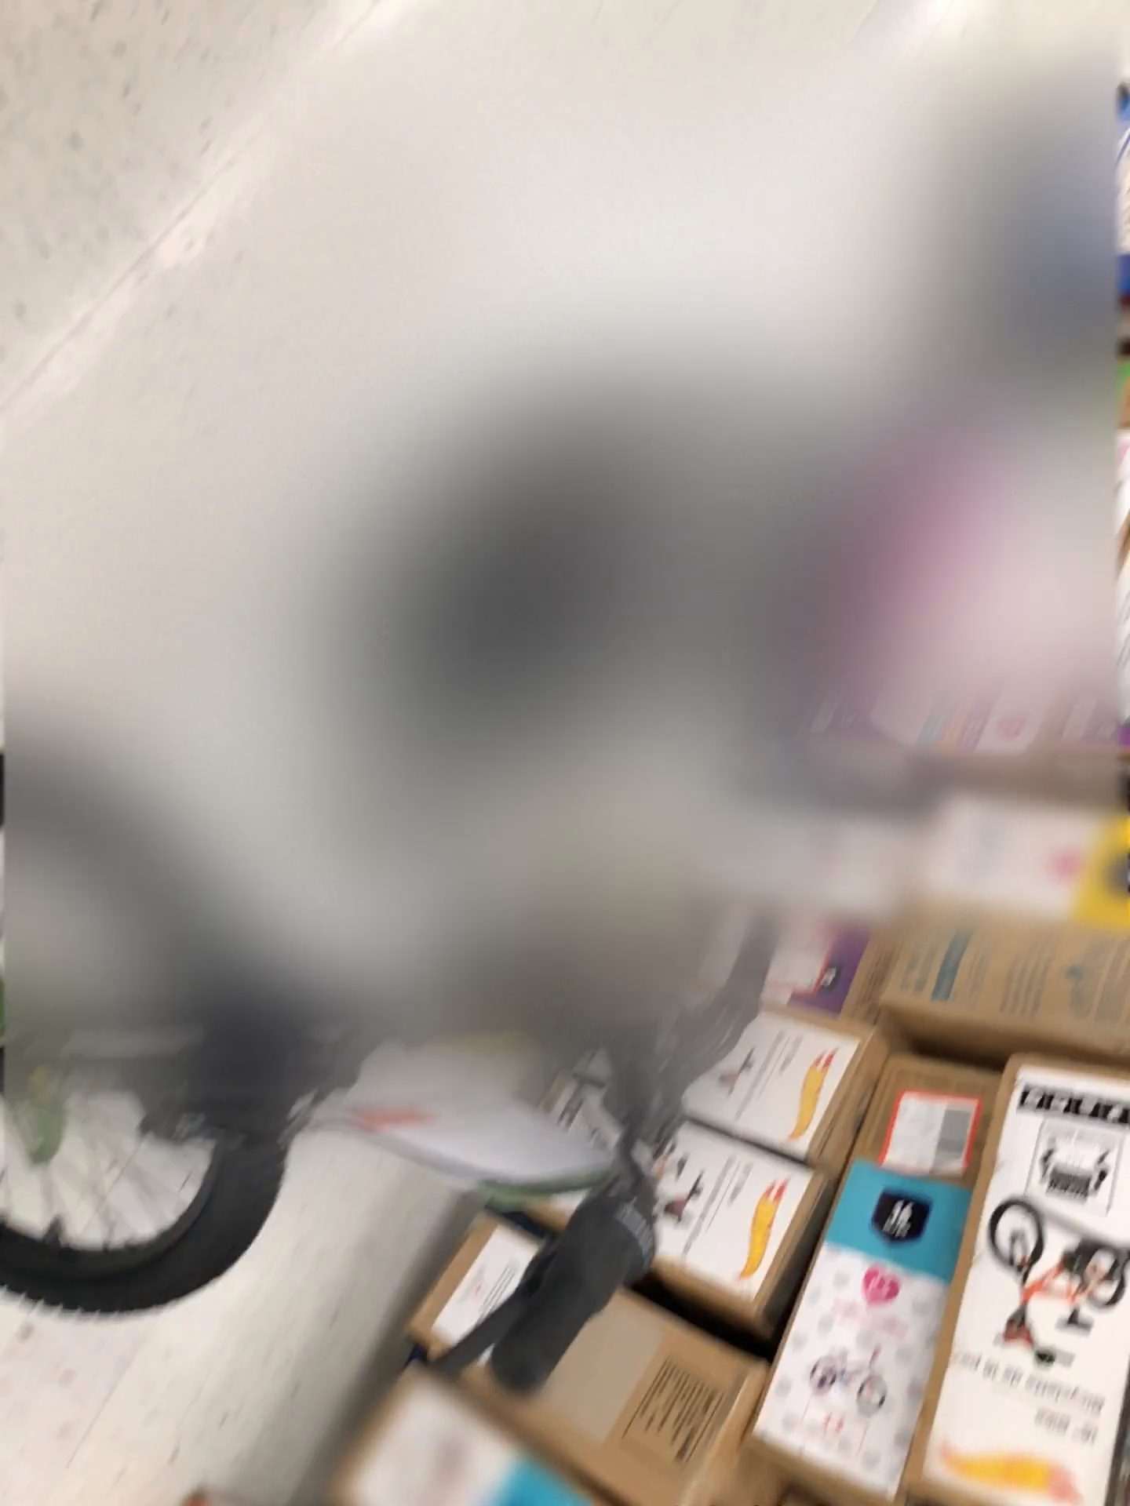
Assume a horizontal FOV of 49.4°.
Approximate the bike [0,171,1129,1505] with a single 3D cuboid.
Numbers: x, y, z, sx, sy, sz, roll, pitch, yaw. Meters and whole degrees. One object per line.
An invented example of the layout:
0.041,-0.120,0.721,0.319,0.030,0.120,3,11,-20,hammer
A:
0.124,0.119,1.259,1.260,0.849,0.524,-58,132,-29,bike
